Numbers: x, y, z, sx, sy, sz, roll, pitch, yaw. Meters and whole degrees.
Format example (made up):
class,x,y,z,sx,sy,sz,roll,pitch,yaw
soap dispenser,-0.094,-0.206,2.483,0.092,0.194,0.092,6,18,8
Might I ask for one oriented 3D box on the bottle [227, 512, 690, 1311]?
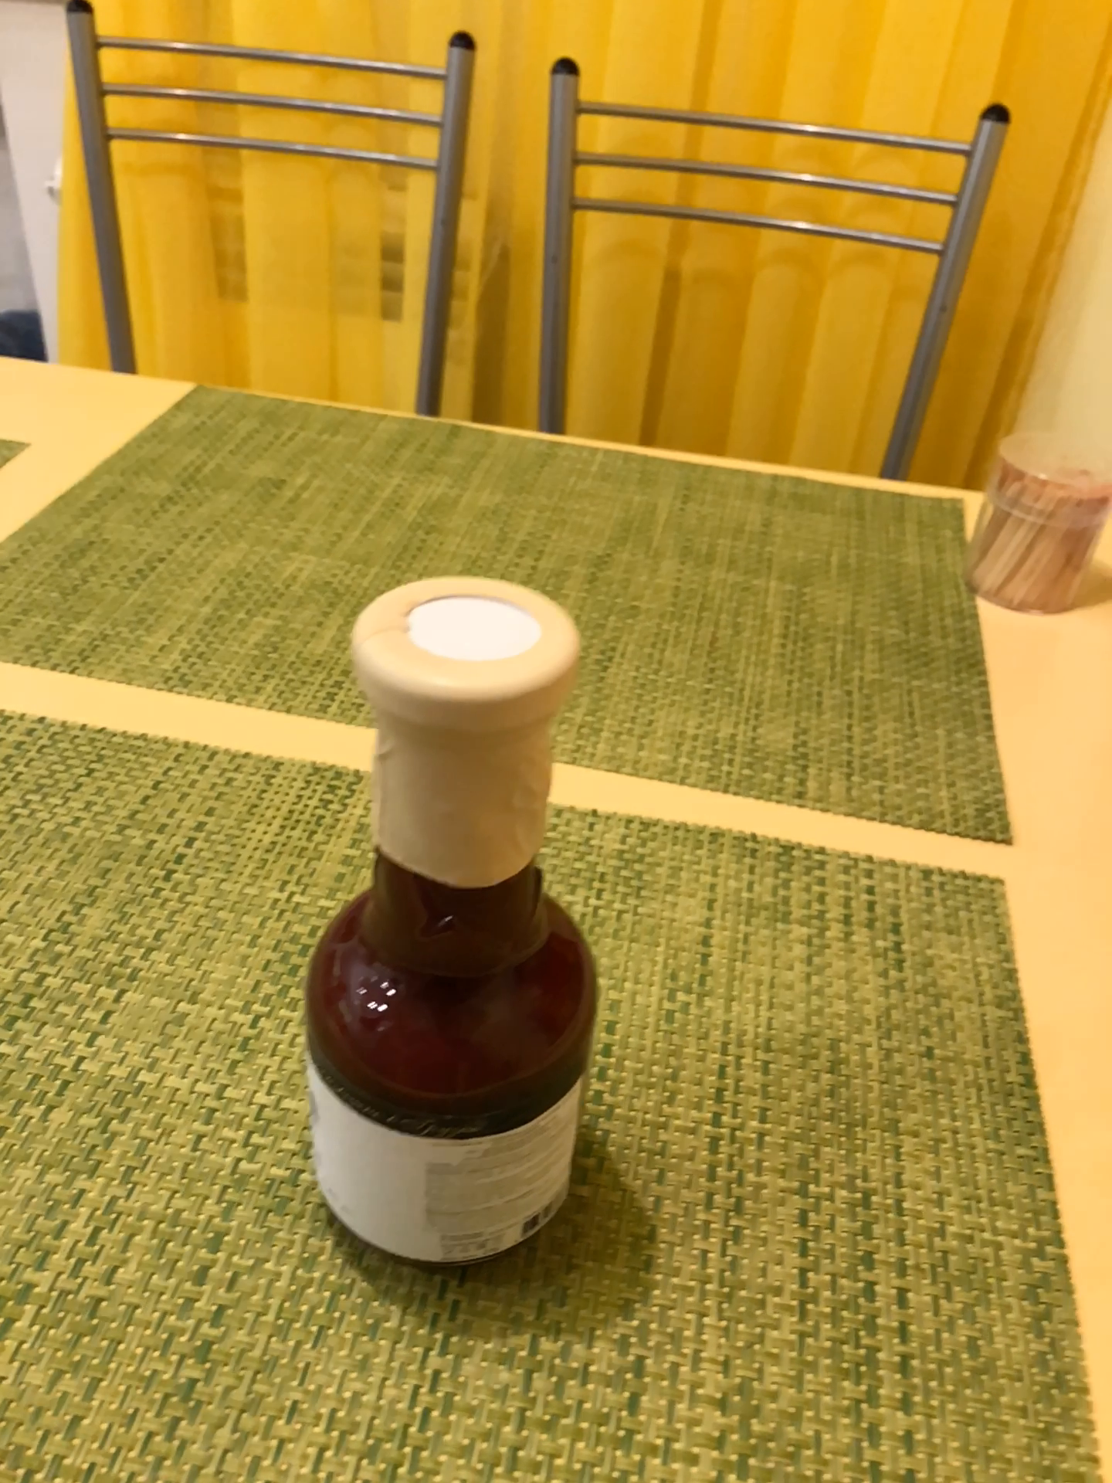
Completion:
class,x,y,z,sx,sy,sz,roll,pitch,yaw
bottle,-0.019,0.042,0.261,0.070,0.159,0.071,3,36,-3
